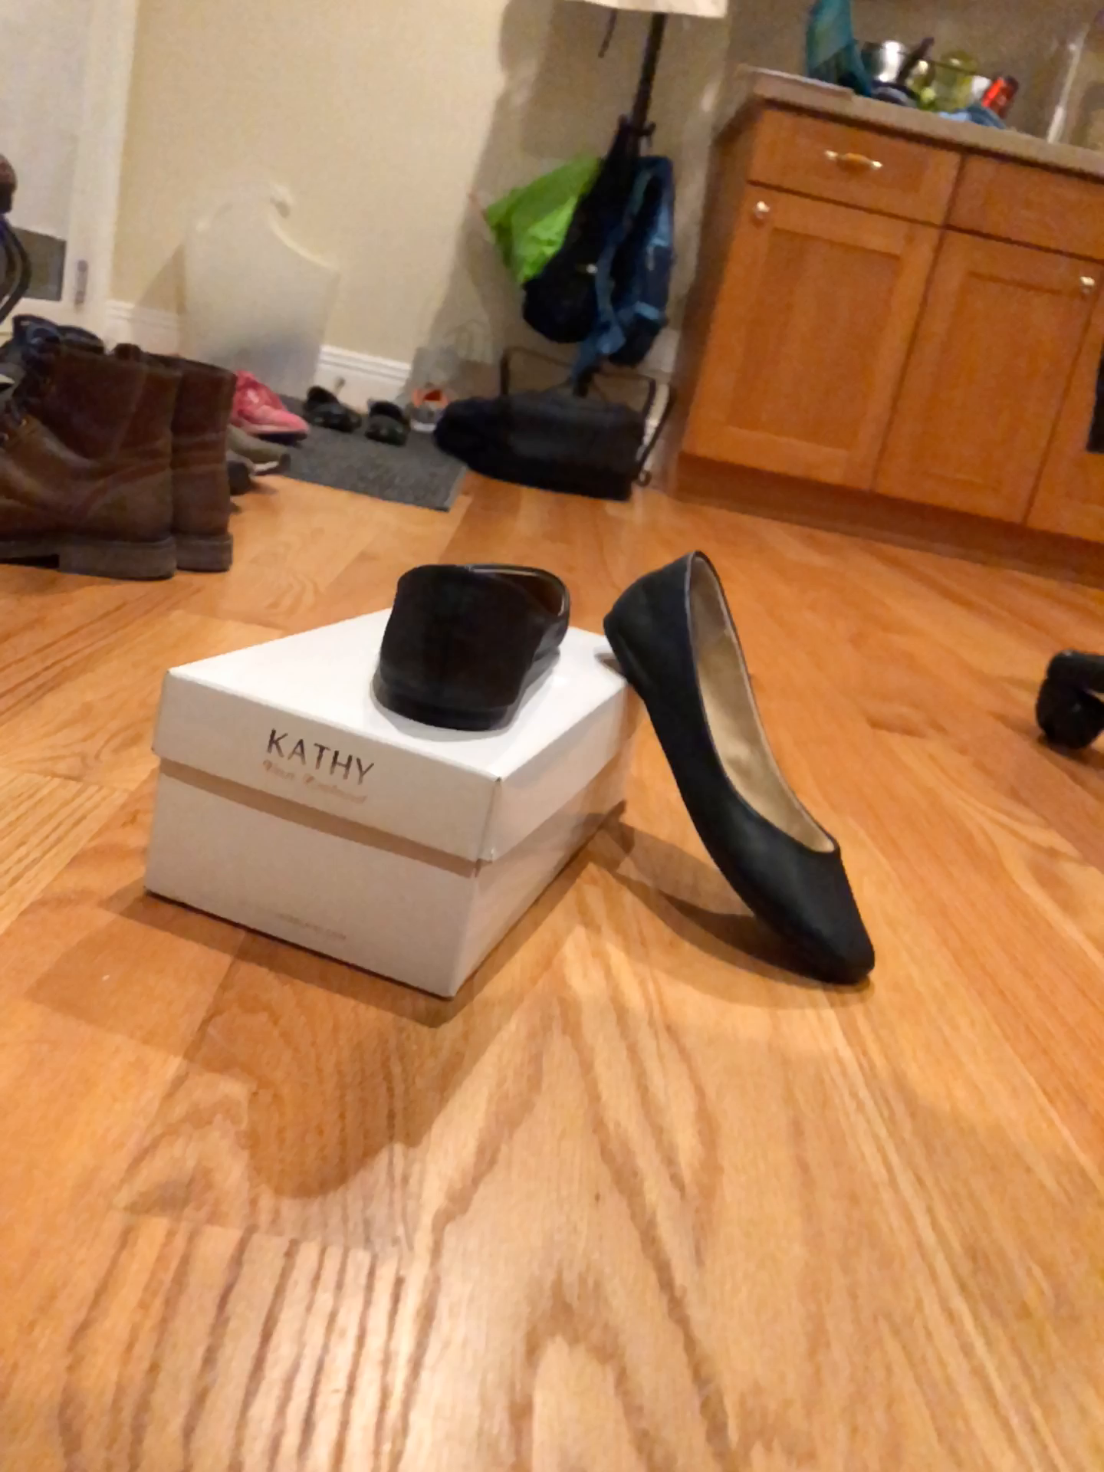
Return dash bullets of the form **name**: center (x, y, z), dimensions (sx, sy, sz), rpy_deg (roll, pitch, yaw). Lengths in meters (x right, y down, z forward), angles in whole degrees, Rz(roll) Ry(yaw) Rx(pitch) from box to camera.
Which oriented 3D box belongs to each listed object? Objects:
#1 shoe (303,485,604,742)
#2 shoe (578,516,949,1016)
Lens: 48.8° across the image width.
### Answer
- **shoe**: center (-0.032, -0.067, 0.551), dimensions (0.076, 0.060, 0.240), rpy_deg (14, 17, 4)
- **shoe**: center (0.098, 0.012, 0.596), dimensions (0.076, 0.060, 0.240), rpy_deg (16, 45, -51)
